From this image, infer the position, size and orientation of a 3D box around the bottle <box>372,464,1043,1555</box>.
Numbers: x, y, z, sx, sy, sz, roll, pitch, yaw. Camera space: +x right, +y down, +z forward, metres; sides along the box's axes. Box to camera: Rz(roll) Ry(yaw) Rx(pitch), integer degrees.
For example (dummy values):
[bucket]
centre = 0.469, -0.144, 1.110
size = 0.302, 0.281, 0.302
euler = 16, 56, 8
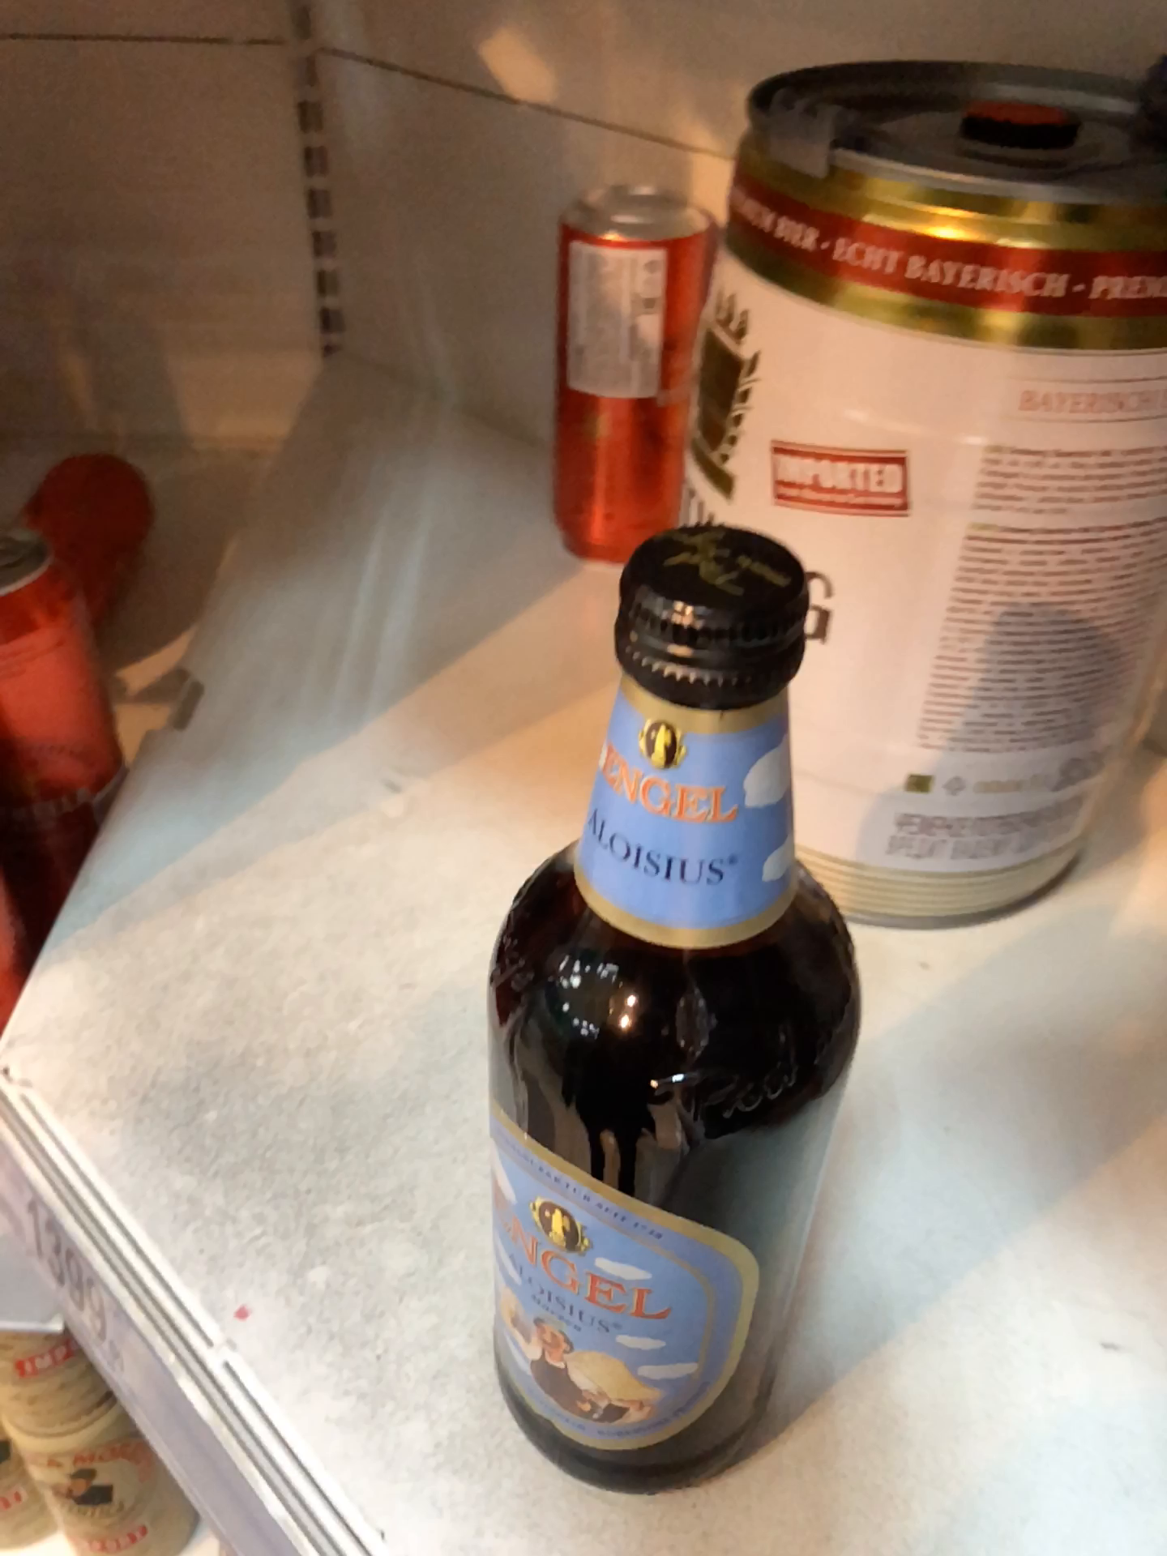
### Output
[bottle]
centre = 0.015, 0.062, 0.247
size = 0.070, 0.219, 0.060
euler = 30, 47, 31
